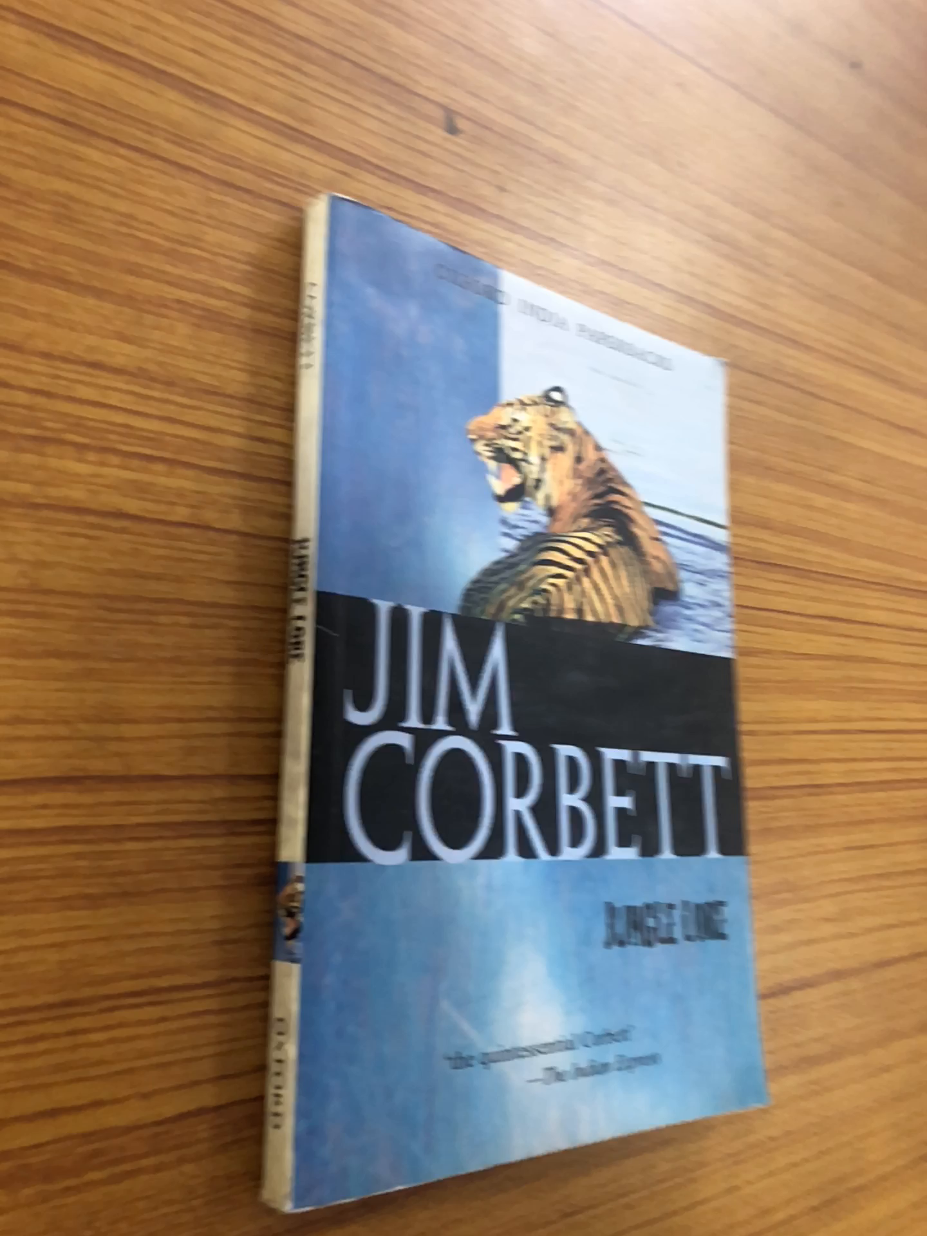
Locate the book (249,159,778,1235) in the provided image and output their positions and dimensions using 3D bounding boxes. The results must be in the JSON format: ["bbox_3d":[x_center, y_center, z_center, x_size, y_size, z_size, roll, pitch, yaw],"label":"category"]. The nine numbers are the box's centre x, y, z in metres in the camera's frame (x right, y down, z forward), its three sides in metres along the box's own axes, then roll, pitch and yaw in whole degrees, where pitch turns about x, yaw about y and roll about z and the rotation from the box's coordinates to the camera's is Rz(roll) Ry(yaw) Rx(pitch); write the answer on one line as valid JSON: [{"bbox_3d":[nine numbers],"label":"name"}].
[{"bbox_3d":[0.022,0.016,0.258,0.151,0.010,0.220,9,75,-37],"label":"book"}]
